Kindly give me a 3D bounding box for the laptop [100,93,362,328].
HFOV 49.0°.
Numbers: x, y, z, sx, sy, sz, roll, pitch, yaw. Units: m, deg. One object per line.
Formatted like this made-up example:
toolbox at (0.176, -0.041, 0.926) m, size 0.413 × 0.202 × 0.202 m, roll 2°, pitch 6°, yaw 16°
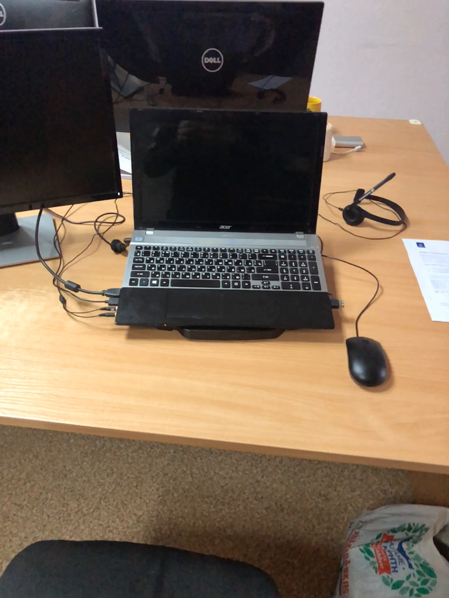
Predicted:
laptop at (0.008, -0.170, 0.880) m, size 0.370 × 0.215 × 0.354 m, roll 1°, pitch 45°, yaw -1°
